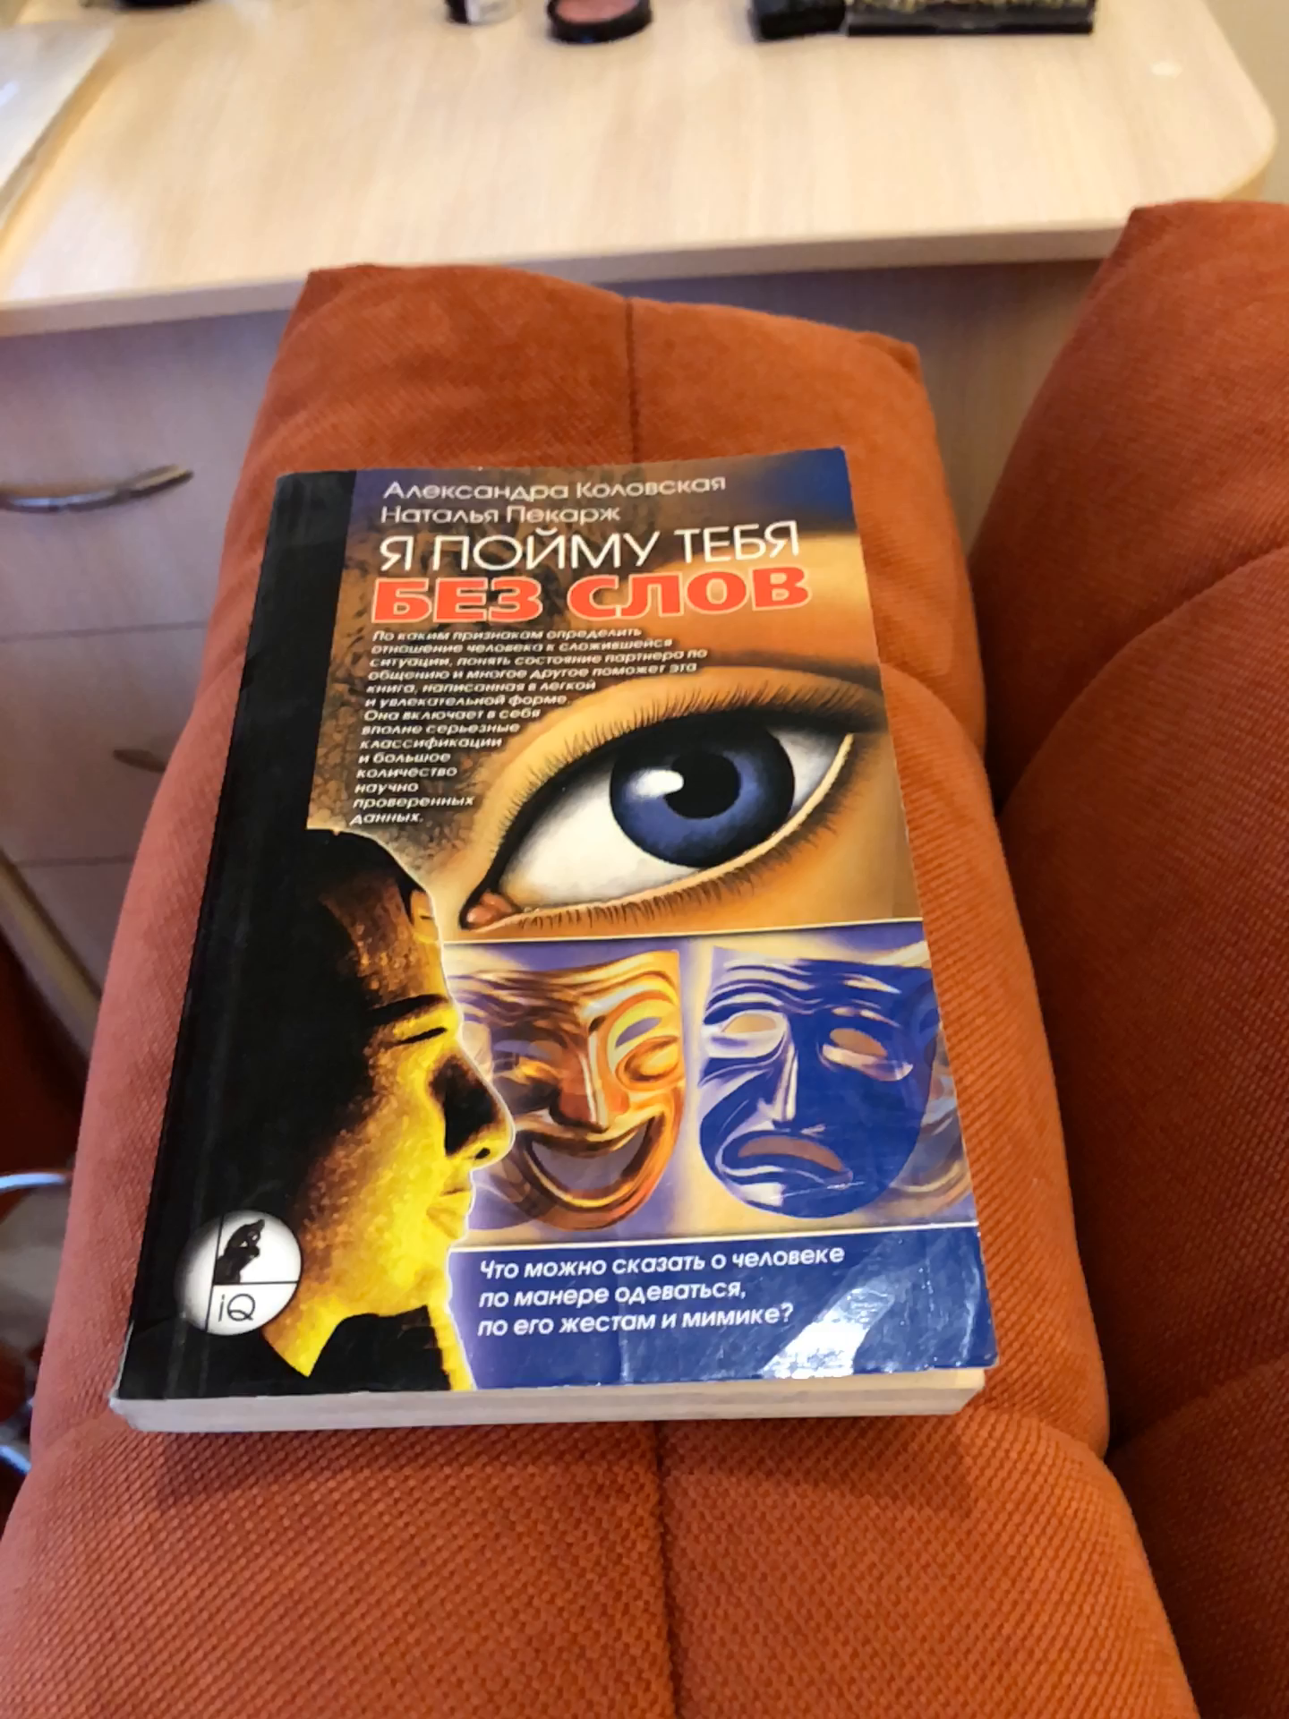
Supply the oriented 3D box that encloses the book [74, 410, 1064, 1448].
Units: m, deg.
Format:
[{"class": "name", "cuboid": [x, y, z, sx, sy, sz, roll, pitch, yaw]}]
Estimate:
[{"class": "book", "cuboid": [-0.012, -0.003, 0.252, 0.128, 0.030, 0.191, -3, 55, 1]}]
